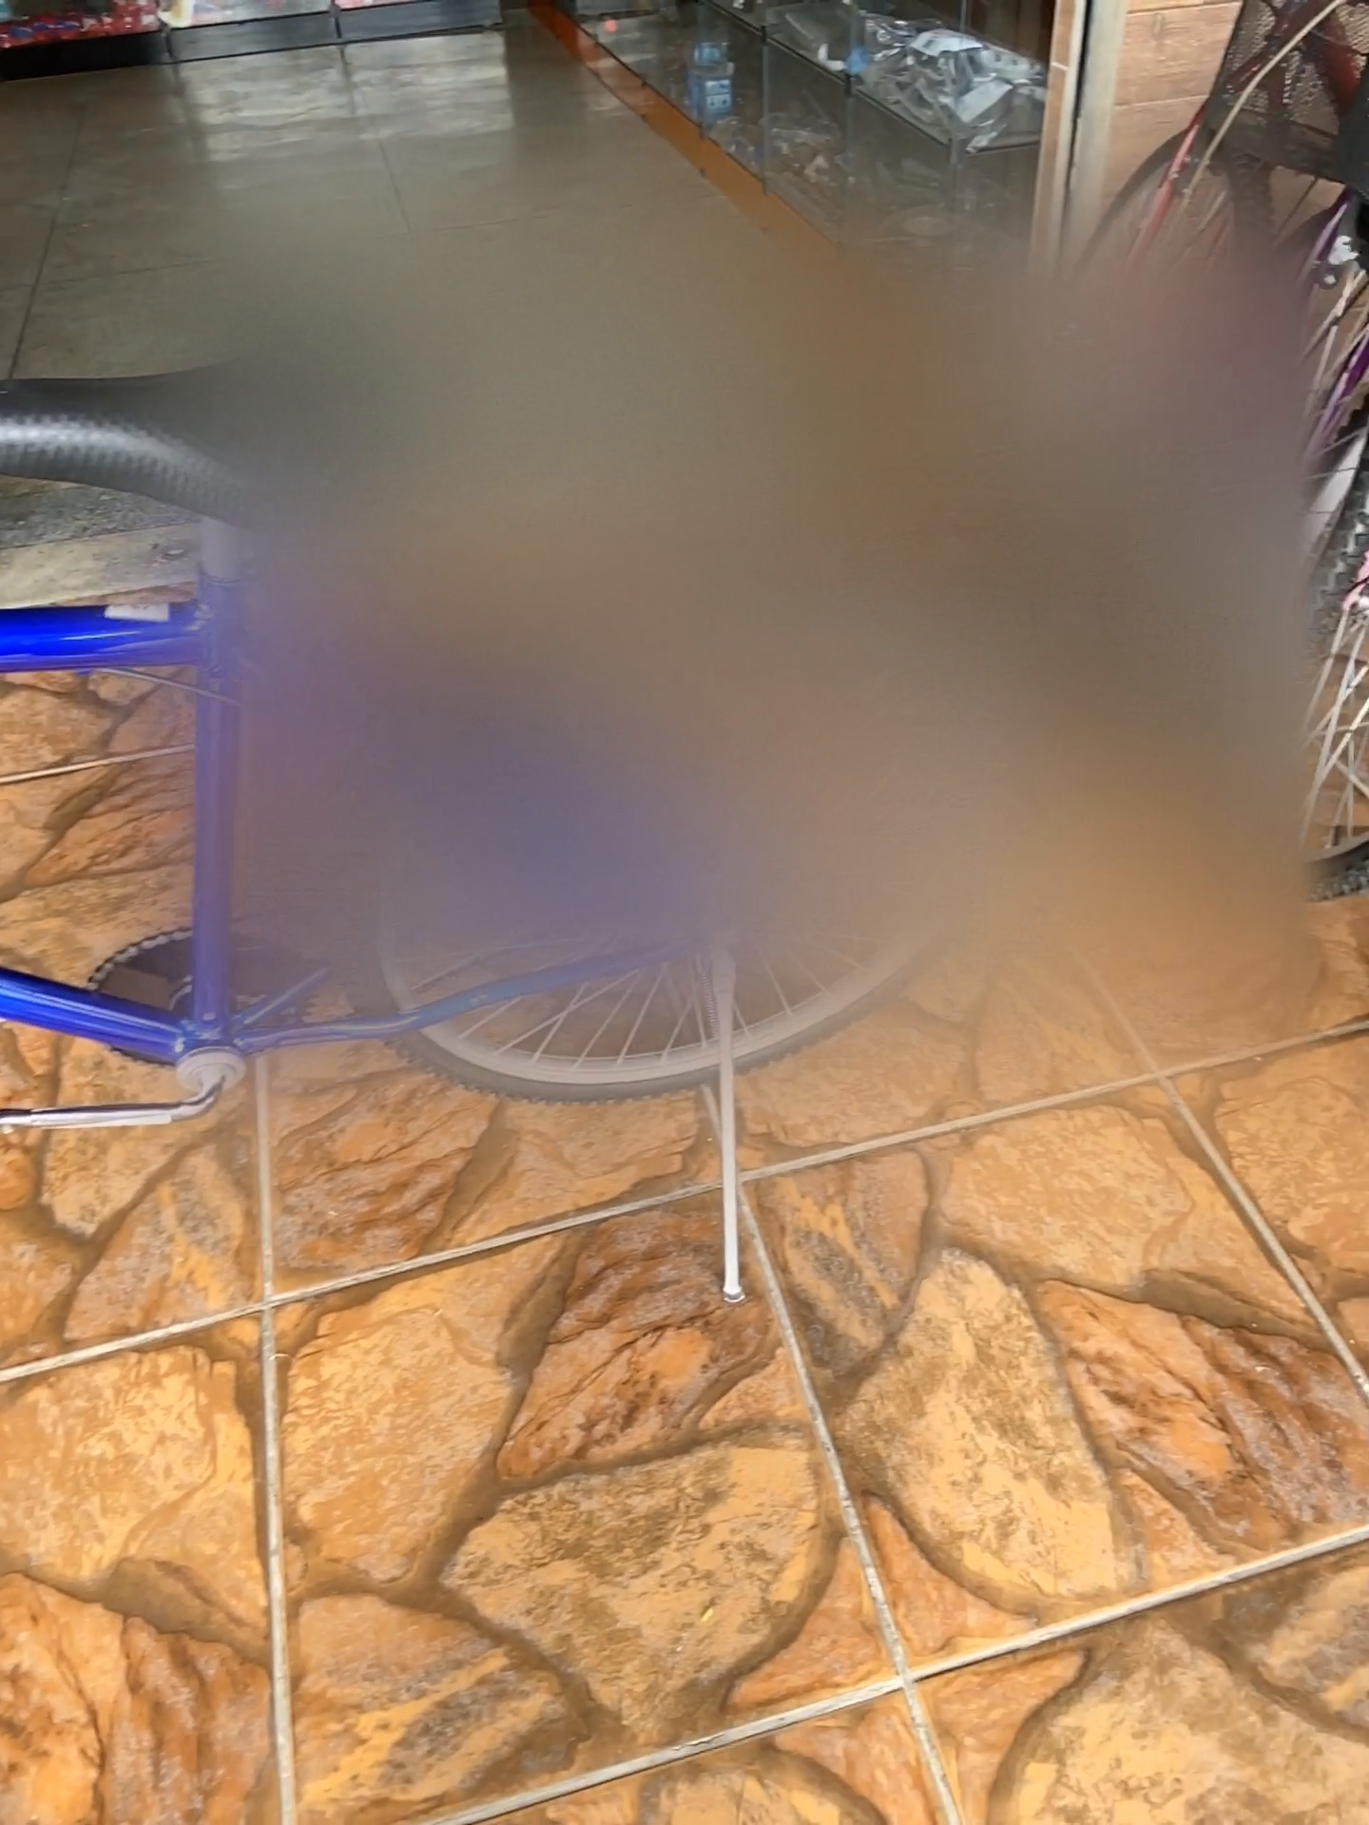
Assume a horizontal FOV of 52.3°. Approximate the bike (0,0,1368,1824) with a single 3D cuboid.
[{"bbox_3d":[-0.349,0.111,0.882,1.526,1.013,0.574,-23,45,-15],"label":"bike"}]
